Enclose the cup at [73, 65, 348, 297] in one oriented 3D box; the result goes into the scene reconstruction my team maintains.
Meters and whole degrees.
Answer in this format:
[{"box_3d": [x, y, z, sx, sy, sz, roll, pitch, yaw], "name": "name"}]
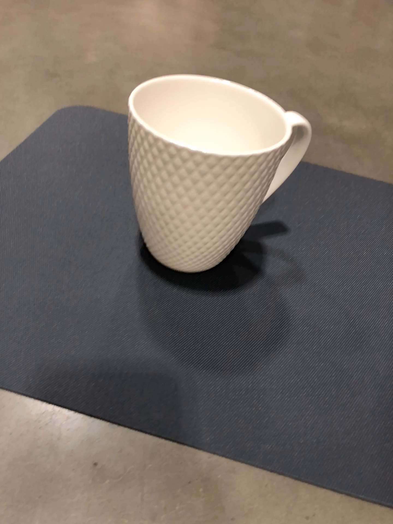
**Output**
[{"box_3d": [0.002, -0.058, 0.279, 0.130, 0.090, 0.090, -17, 50, -26], "name": "cup"}]
